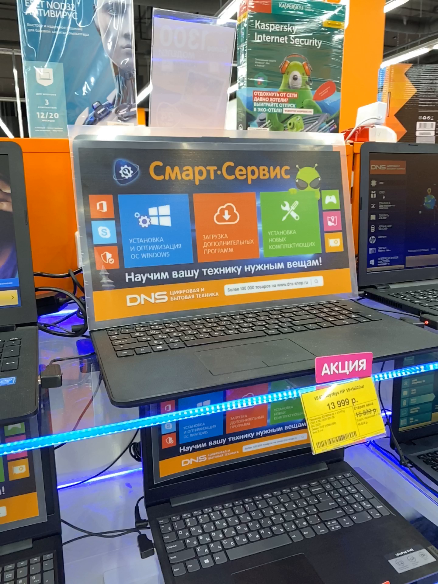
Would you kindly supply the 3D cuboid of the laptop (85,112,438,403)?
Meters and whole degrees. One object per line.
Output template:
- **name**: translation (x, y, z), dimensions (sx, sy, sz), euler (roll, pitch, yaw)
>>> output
- **laptop**: translation (0.049, -0.069, 0.539), dimensions (0.377, 0.235, 0.262), euler (-5, 14, -18)
